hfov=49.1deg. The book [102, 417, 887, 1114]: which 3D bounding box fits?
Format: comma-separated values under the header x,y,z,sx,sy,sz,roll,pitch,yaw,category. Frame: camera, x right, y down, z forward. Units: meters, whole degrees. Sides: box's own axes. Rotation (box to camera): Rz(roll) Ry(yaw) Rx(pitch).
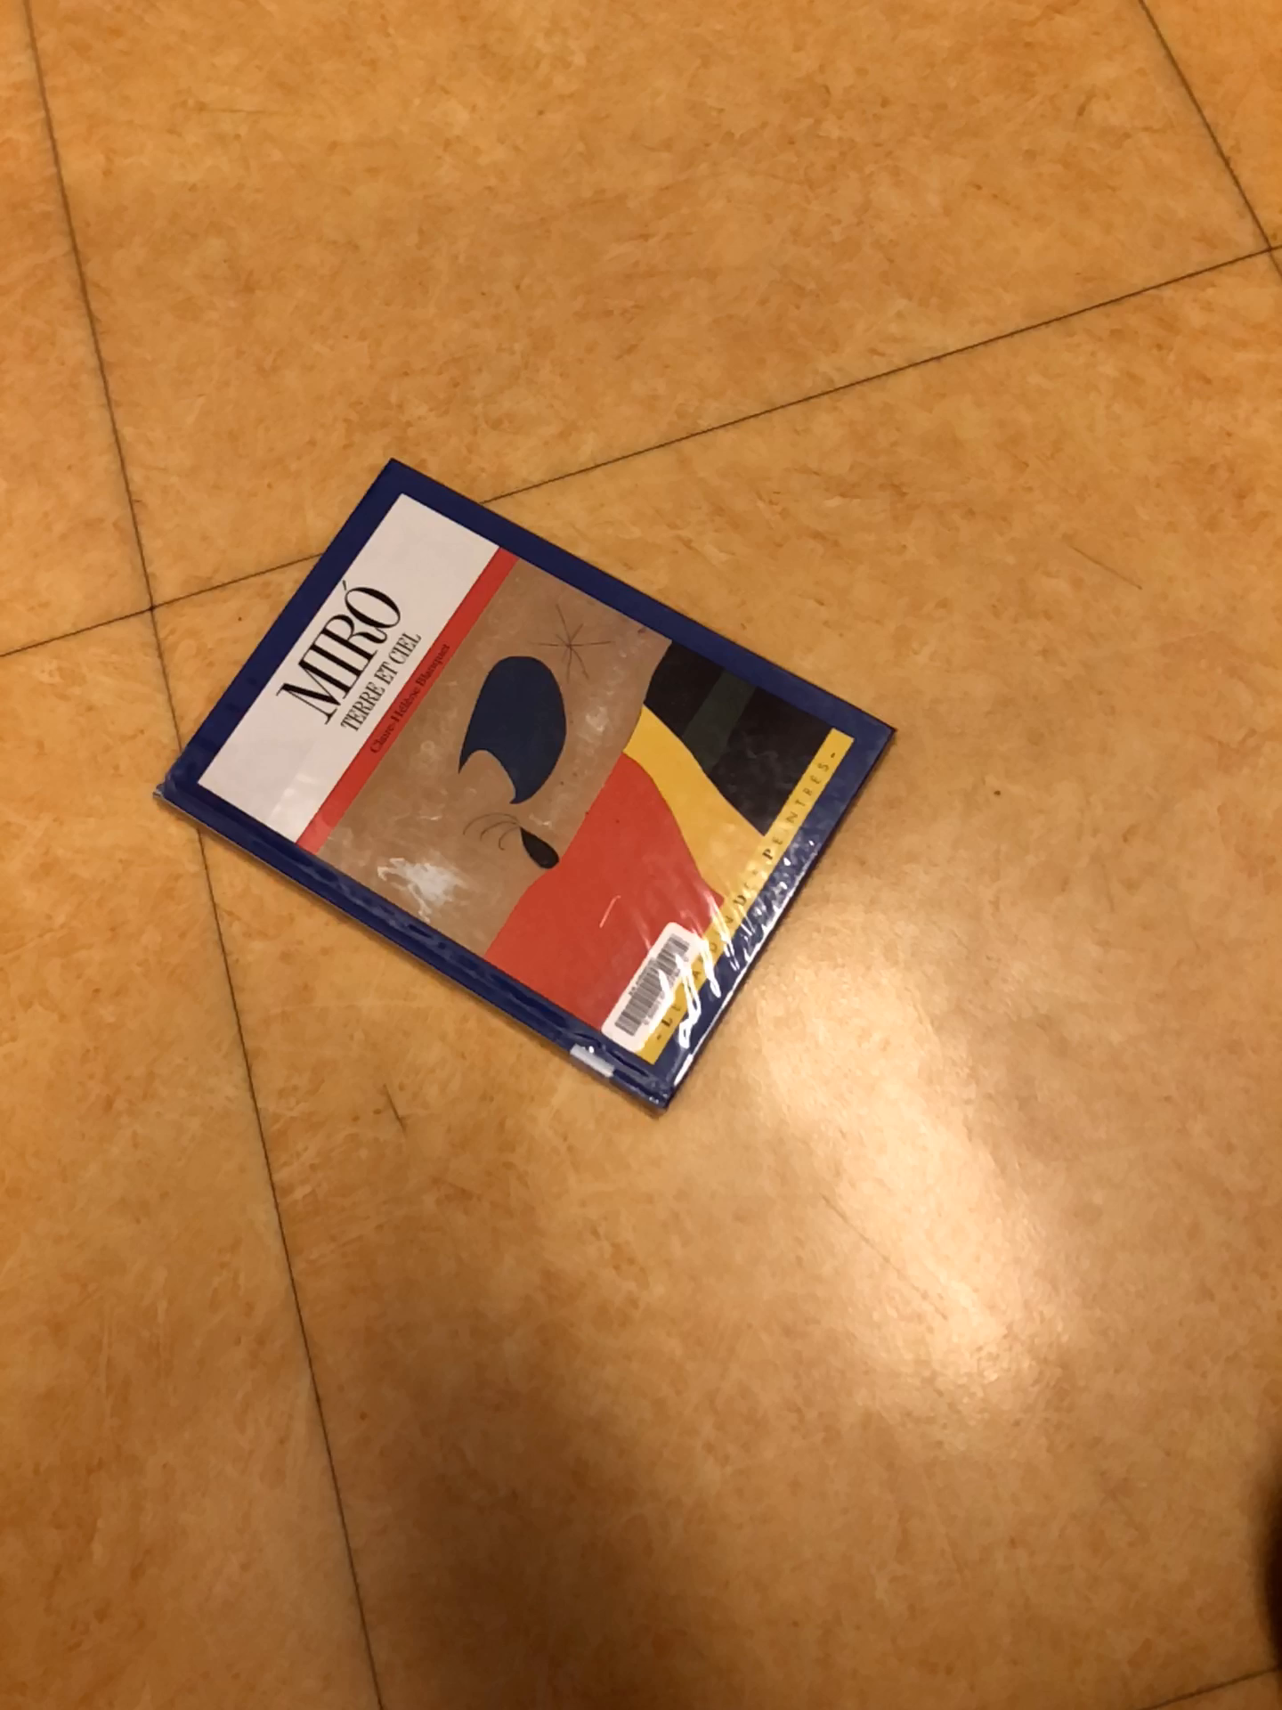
x,y,z,sx,sy,sz,roll,pitch,yaw,category
-0.058,-0.043,0.540,0.245,0.020,0.177,31,79,14,book
